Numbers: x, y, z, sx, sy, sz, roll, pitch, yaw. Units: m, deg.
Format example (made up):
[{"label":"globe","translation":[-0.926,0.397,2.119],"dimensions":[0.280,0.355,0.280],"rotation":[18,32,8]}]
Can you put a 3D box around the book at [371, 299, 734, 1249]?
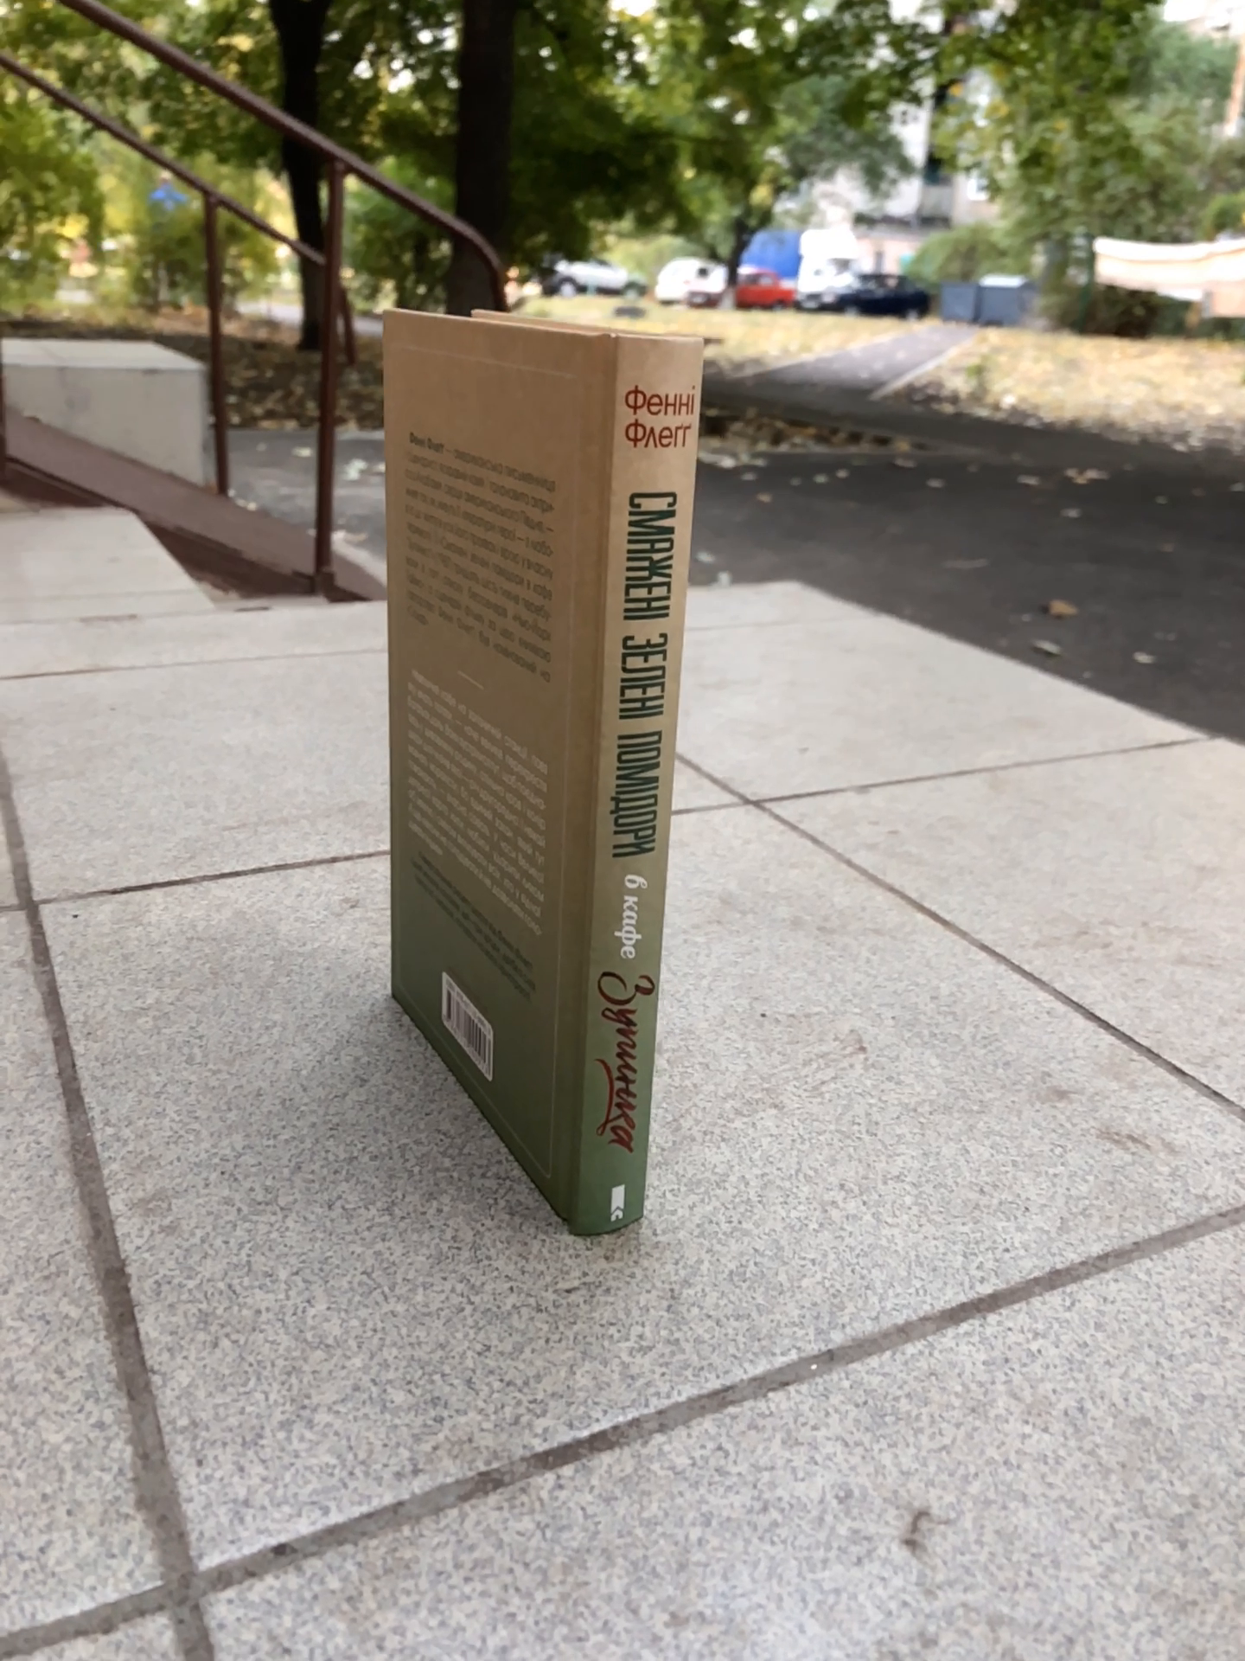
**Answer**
[{"label":"book","translation":[-0.027,-0.024,0.356],"dimensions":[0.030,0.209,0.141],"rotation":[-8,23,-26]}]
